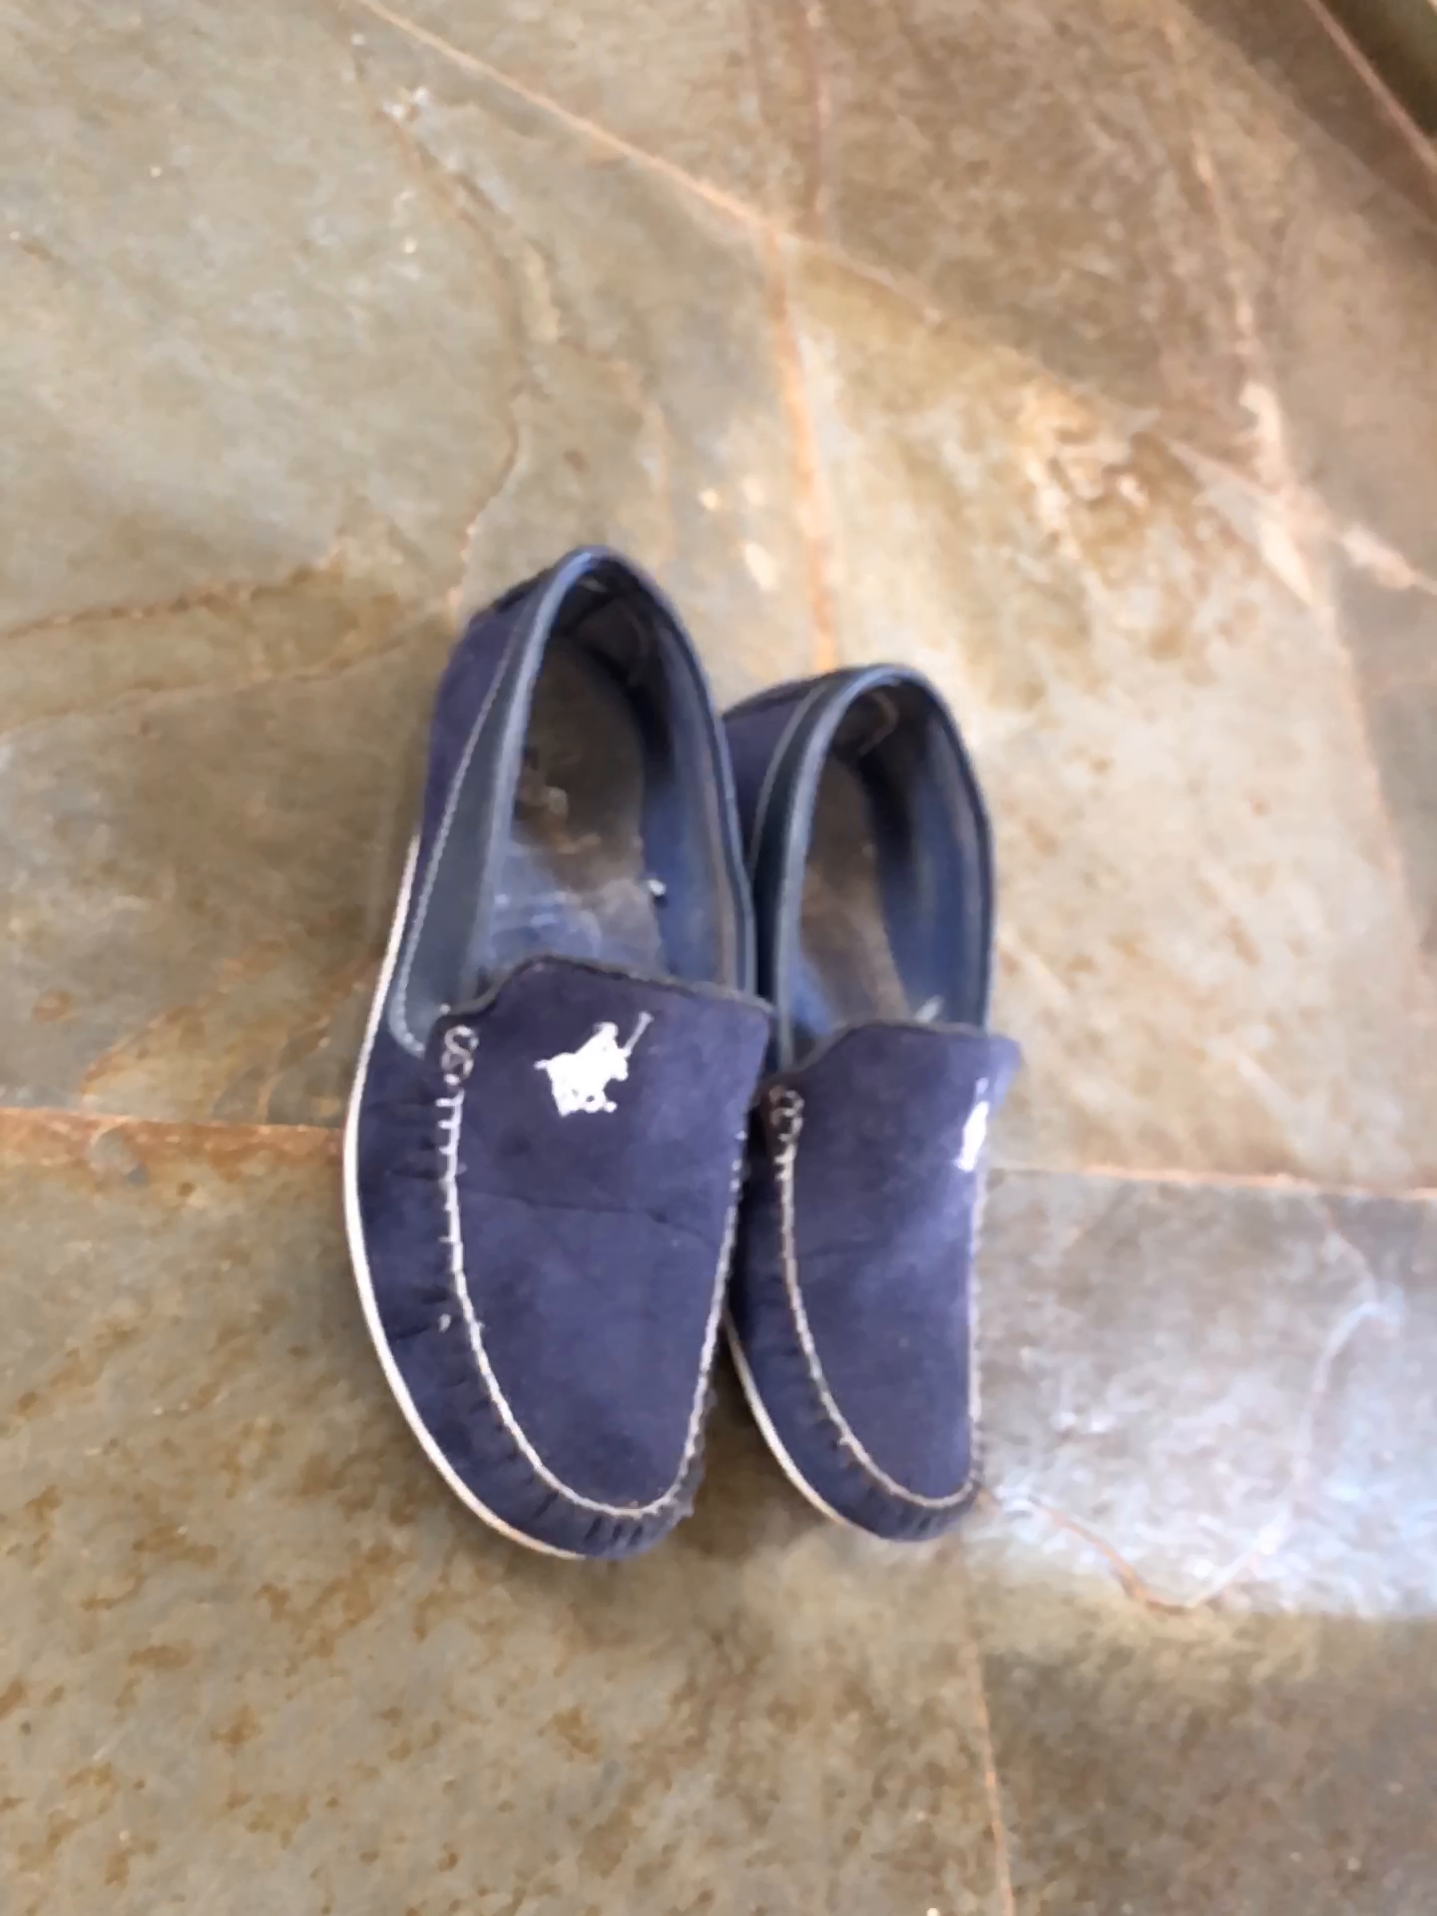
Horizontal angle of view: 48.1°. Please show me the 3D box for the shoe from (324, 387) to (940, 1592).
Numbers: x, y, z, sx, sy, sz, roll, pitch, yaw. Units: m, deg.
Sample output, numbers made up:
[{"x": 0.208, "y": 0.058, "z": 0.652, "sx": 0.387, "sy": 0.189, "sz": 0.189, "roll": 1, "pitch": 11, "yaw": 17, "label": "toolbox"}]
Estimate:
[{"x": -0.030, "y": 0.010, "z": 0.395, "sx": 0.100, "sy": 0.089, "sz": 0.261, "roll": 11, "pitch": 65, "yaw": -38, "label": "shoe"}]

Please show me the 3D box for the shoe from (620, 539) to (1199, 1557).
[{"x": 0.047, "y": 0.028, "z": 0.464, "sx": 0.100, "sy": 0.089, "sz": 0.261, "roll": 11, "pitch": 65, "yaw": -38, "label": "shoe"}]
